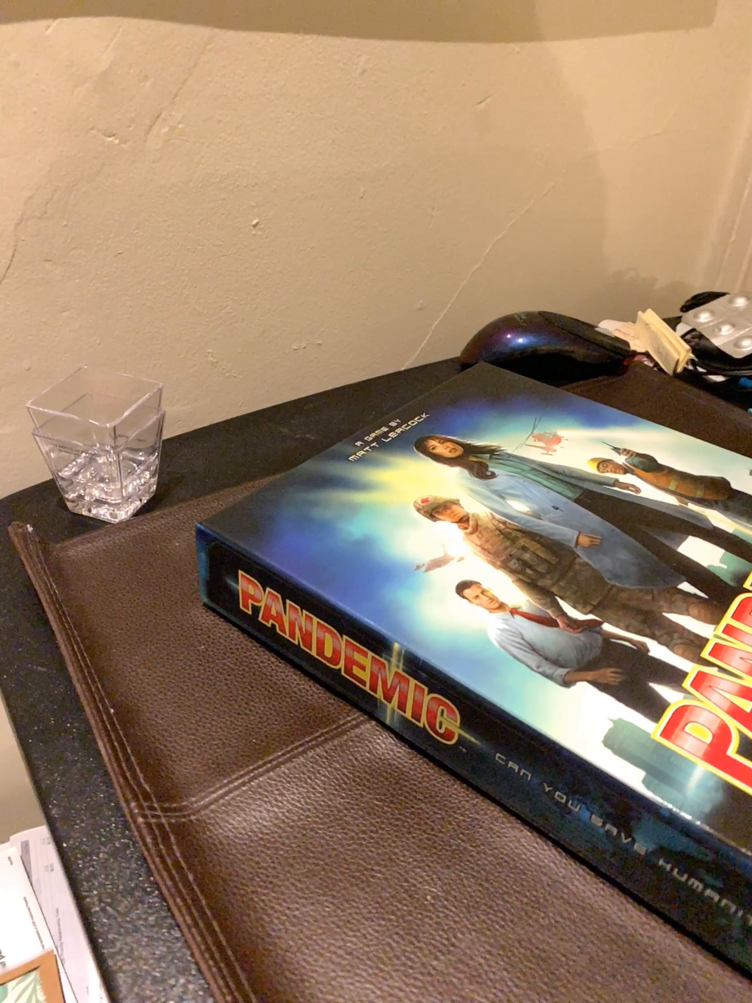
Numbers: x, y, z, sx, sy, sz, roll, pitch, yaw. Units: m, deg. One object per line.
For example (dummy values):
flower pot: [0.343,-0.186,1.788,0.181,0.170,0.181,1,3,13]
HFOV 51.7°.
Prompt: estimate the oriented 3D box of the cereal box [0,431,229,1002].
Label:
cereal box: [-0.522,0.494,0.887,0.510,0.994,0.473,6,36,5]
